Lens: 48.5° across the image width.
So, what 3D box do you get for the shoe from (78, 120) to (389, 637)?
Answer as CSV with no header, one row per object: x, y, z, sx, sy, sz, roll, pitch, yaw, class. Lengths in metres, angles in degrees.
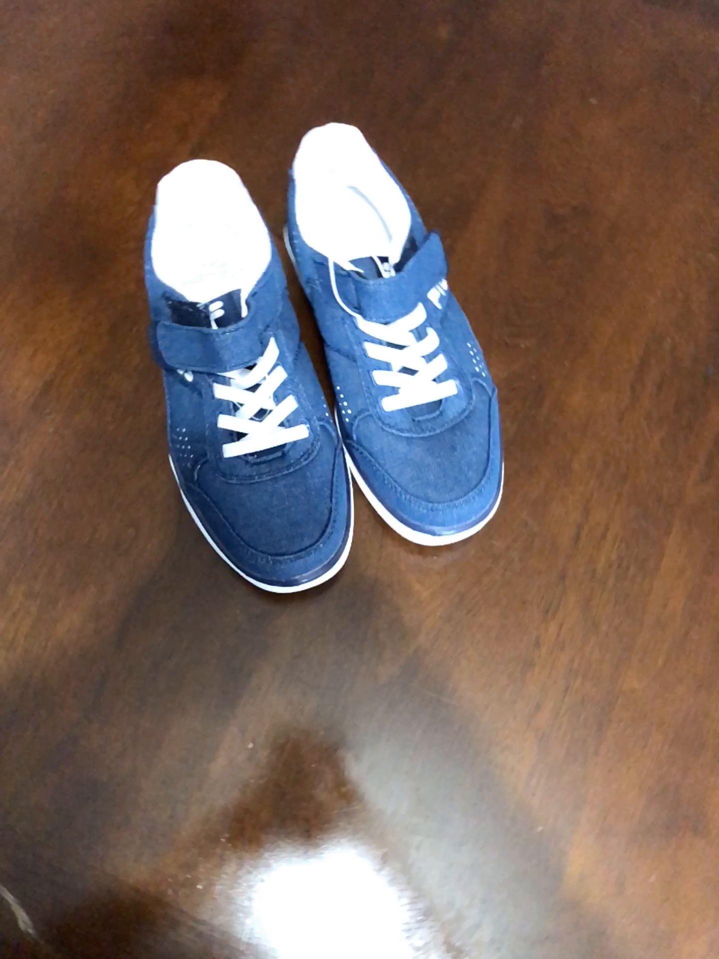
-0.066,-0.053,0.413,0.090,0.080,0.240,-15,73,-7,shoe

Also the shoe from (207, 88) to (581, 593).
0.009,-0.075,0.428,0.100,0.080,0.240,-20,73,-9,shoe
